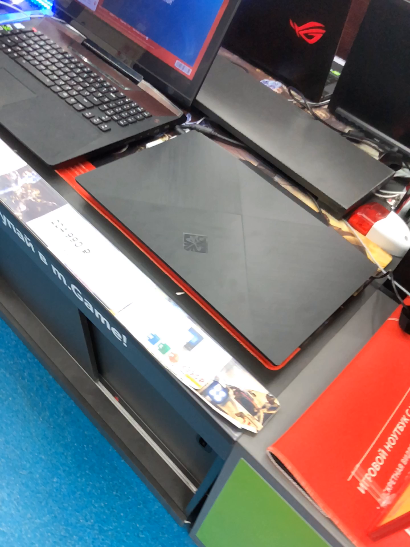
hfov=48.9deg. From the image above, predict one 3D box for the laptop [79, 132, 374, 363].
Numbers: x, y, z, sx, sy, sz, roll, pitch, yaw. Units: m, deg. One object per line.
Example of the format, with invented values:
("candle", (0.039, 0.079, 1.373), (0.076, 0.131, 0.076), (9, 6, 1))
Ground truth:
("laptop", (0.036, -0.077, 0.691), (0.398, 0.002, 0.262), (42, 51, 20))
